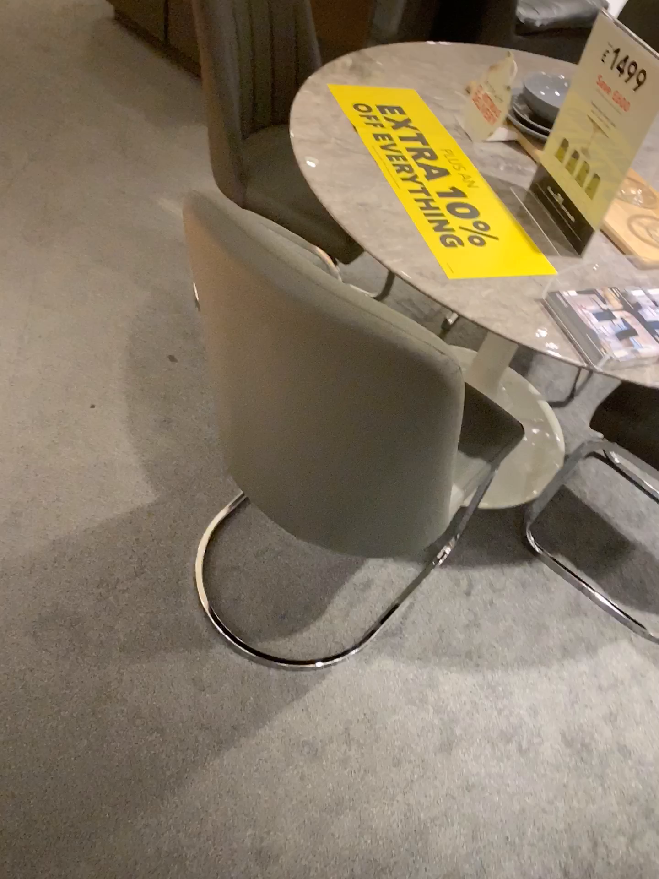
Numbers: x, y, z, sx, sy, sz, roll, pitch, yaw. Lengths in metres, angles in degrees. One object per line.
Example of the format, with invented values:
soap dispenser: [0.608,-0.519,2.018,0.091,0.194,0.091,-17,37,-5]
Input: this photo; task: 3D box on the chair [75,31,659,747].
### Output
chair: [0.053,-0.057,1.137,0.551,0.884,0.632,38,52,18]

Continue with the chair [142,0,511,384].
chair: [-0.063,-0.730,1.699,0.579,0.884,0.524,31,50,13]

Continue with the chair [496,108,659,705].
chair: [0.861,-0.030,1.321,0.580,0.884,0.523,39,52,19]
